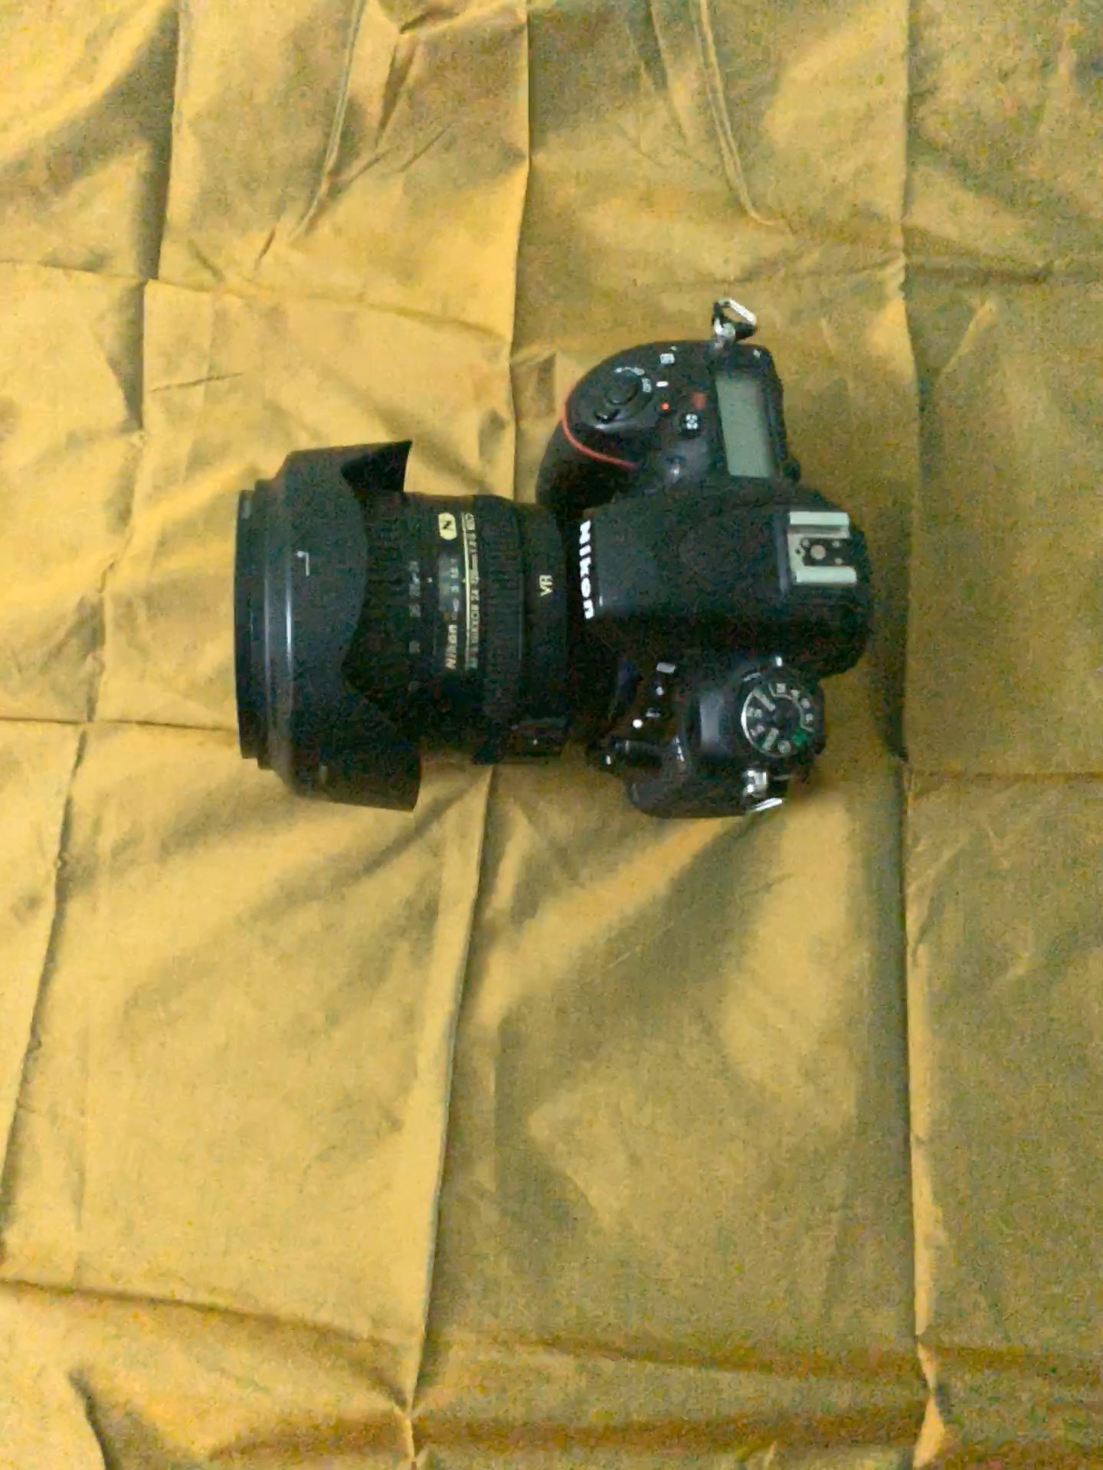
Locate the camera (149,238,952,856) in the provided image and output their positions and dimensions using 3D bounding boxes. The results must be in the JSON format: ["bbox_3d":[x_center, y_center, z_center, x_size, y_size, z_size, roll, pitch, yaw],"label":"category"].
[{"bbox_3d":[-0.003,-0.043,0.332,0.192,0.100,0.140,2,75,-9],"label":"camera"}]
